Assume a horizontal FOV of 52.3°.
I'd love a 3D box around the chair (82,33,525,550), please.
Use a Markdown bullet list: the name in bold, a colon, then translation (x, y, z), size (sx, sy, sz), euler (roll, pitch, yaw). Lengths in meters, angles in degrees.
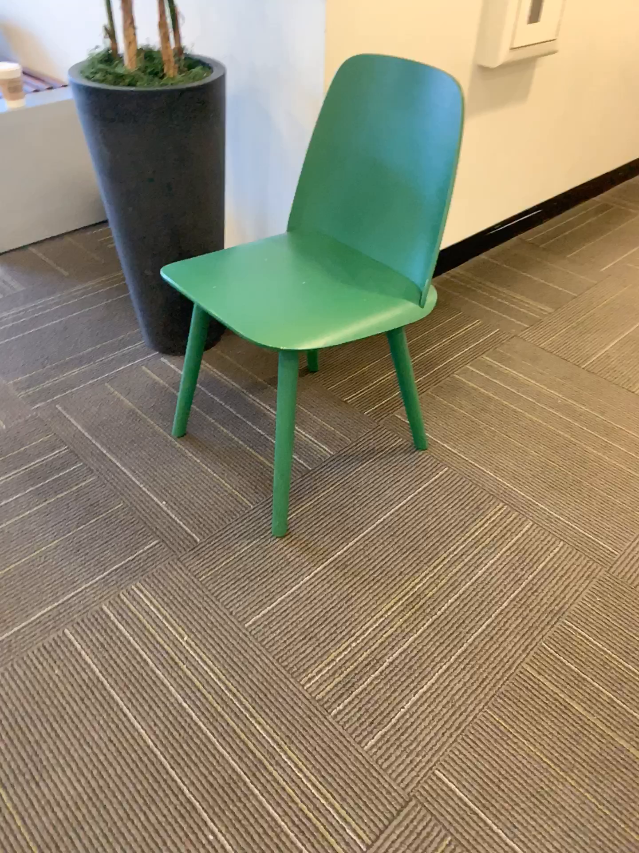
- **chair**: translation (-0.034, -0.283, 1.307), size (0.541, 0.765, 0.482), euler (-29, 49, -32)
